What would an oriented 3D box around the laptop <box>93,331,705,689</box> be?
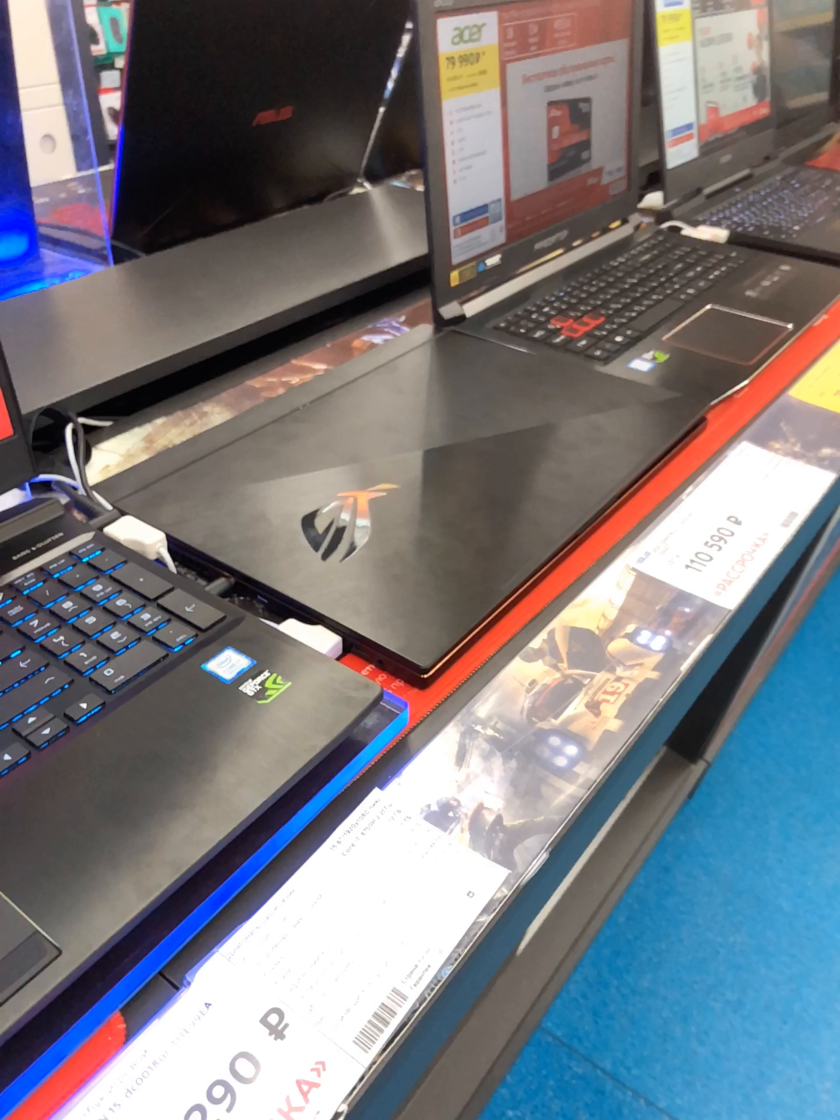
[{"bbox_3d":[0.005,-0.067,0.625,0.254,0.006,0.349,25,41,27],"label":"laptop"}]
